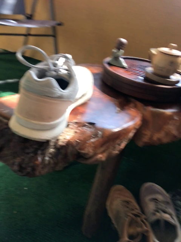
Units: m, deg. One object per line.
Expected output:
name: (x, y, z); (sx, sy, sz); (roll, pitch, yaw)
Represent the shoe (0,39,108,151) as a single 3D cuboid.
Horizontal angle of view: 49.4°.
shoe: (-0.057, -0.076, 0.379); (0.102, 0.090, 0.265); (17, 36, 11)
